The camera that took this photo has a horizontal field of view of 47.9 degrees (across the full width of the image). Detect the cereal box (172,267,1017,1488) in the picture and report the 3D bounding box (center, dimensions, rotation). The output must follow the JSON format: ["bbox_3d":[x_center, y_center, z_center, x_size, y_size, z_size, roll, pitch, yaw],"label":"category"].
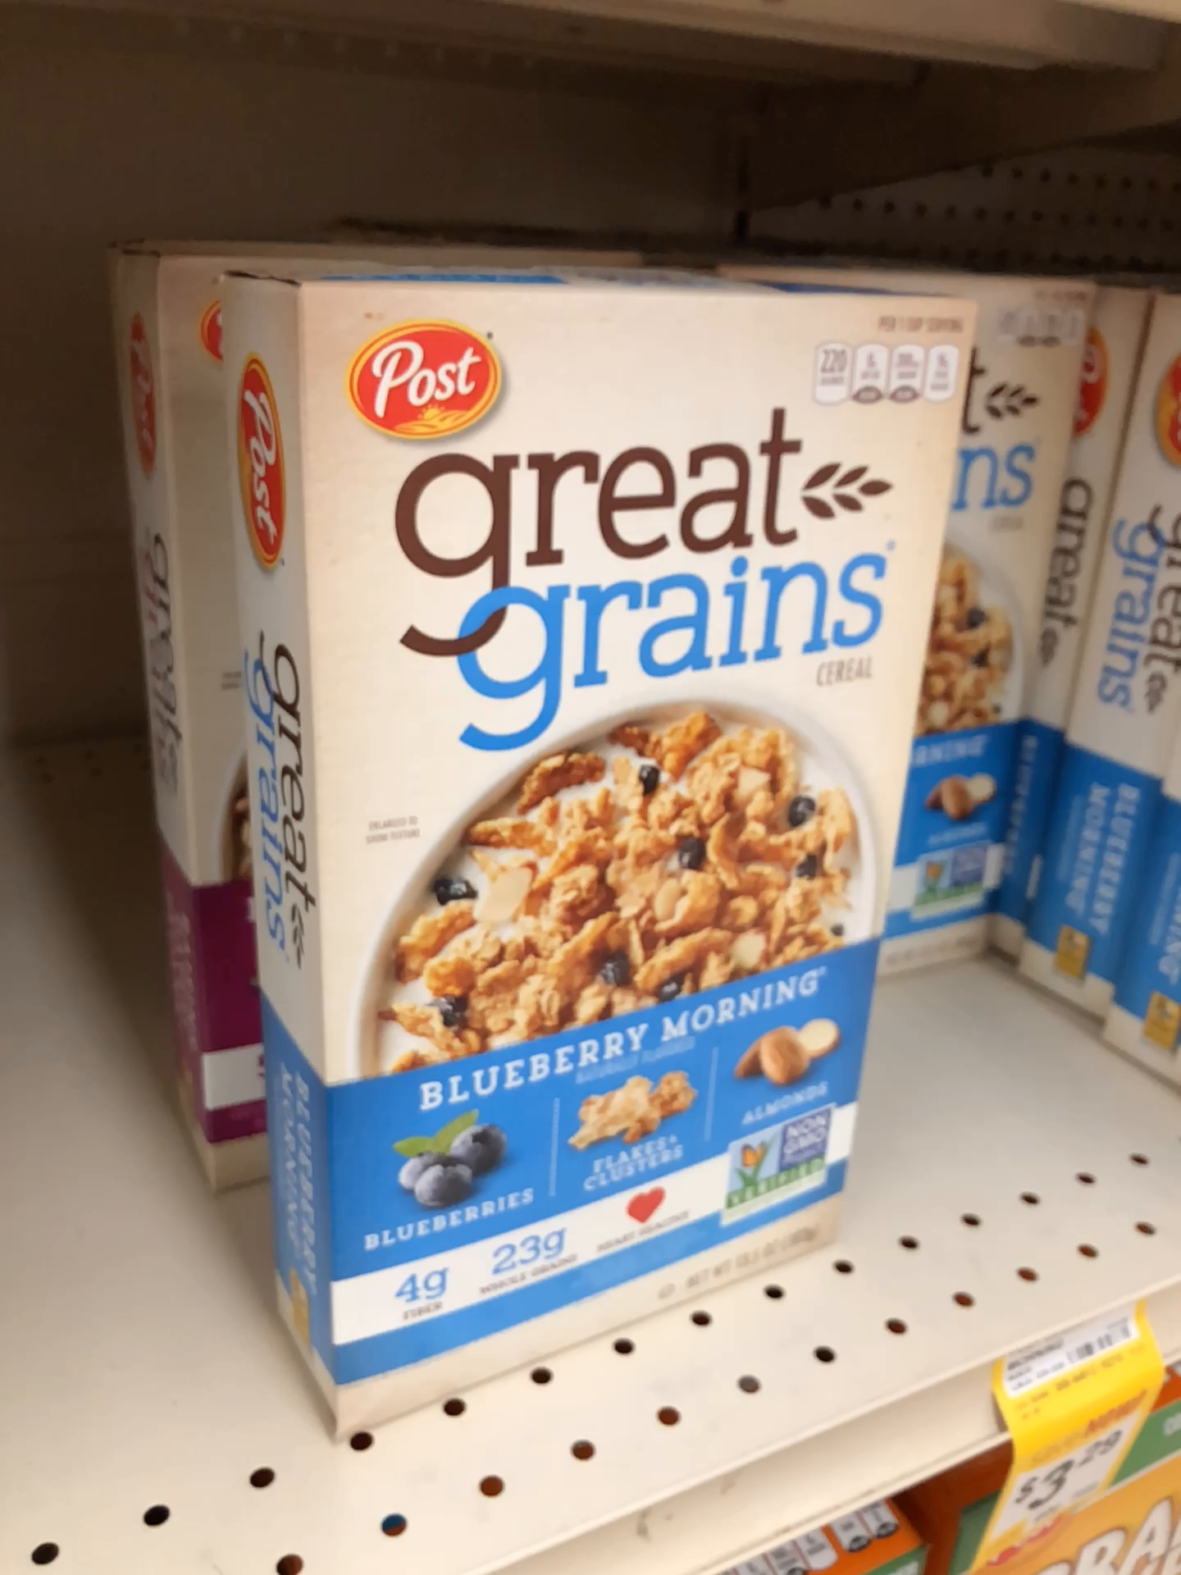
[{"bbox_3d":[0.000,0.020,0.344,0.180,0.279,0.060,-9,24,-28],"label":"cereal box"}]
